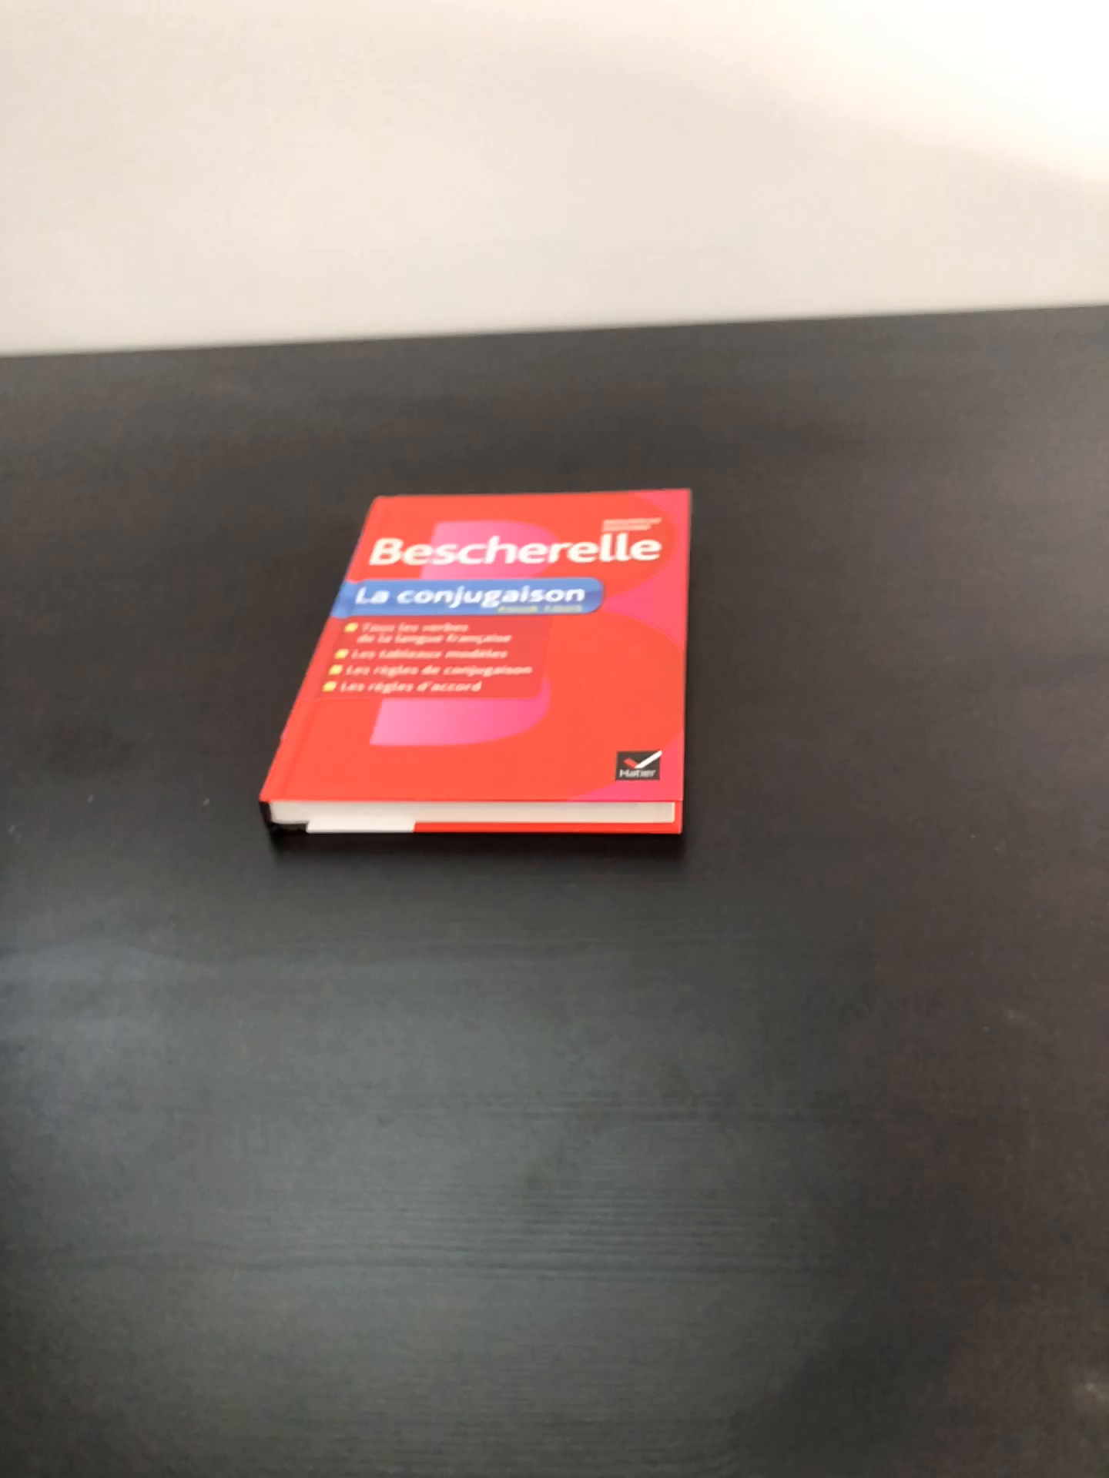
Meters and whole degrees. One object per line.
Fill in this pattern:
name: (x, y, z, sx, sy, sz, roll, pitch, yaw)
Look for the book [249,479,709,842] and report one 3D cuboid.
book: (-0.016, -0.041, 0.481, 0.150, 0.020, 0.205, 0, 41, 7)
